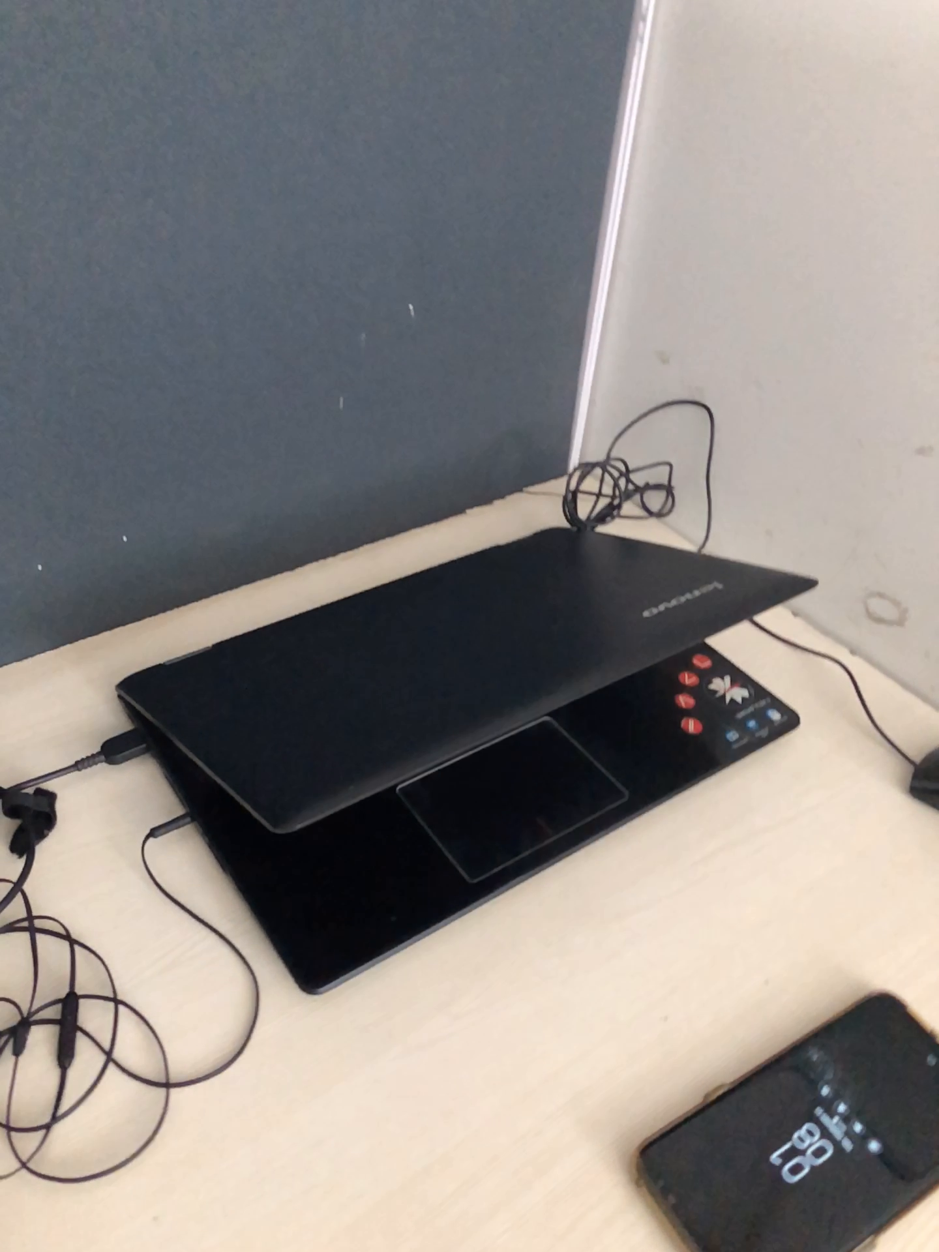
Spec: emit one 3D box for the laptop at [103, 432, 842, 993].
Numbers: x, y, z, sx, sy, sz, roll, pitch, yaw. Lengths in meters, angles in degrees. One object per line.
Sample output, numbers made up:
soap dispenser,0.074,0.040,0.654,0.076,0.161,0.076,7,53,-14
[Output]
laptop,0.003,0.014,0.570,0.326,0.082,0.220,-21,45,-29
